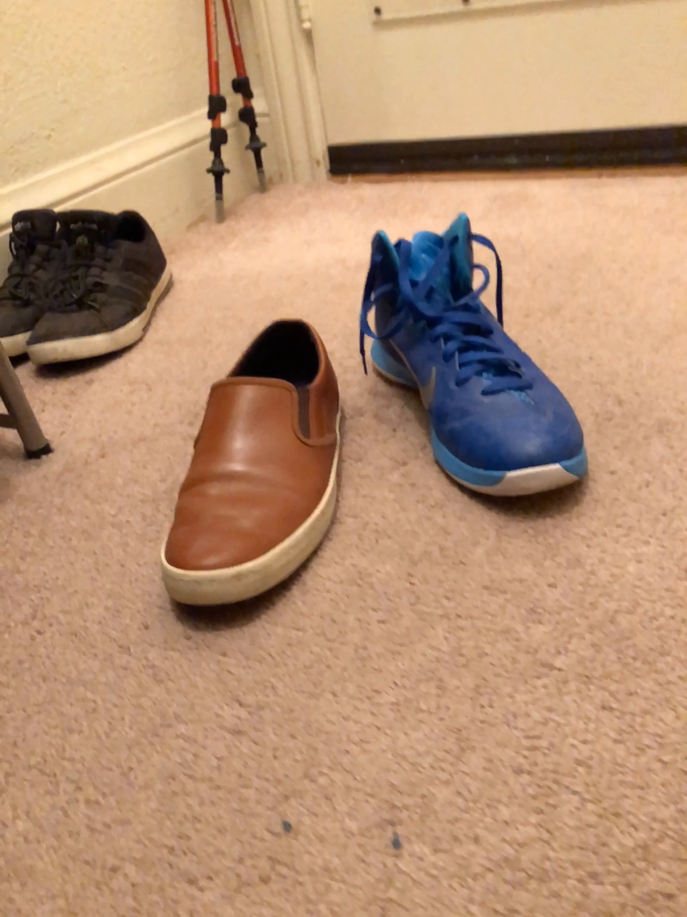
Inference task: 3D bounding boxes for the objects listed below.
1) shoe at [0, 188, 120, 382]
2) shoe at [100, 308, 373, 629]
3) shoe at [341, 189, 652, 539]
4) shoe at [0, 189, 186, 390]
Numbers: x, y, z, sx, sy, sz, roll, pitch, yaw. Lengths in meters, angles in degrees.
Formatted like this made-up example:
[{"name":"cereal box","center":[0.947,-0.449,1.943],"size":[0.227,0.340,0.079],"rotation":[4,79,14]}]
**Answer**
[{"name":"shoe","center":[-0.381,-0.218,0.905],"size":[0.115,0.112,0.294],"rotation":[-5,34,7]},{"name":"shoe","center":[-0.057,-0.012,0.562],"size":[0.105,0.083,0.284],"rotation":[0,35,14]},{"name":"shoe","center":[0.099,-0.095,0.597],"size":[0.115,0.142,0.294],"rotation":[-15,34,-8]},{"name":"shoe","center":[-0.282,-0.205,0.872],"size":[0.115,0.112,0.294],"rotation":[-5,34,7]}]
